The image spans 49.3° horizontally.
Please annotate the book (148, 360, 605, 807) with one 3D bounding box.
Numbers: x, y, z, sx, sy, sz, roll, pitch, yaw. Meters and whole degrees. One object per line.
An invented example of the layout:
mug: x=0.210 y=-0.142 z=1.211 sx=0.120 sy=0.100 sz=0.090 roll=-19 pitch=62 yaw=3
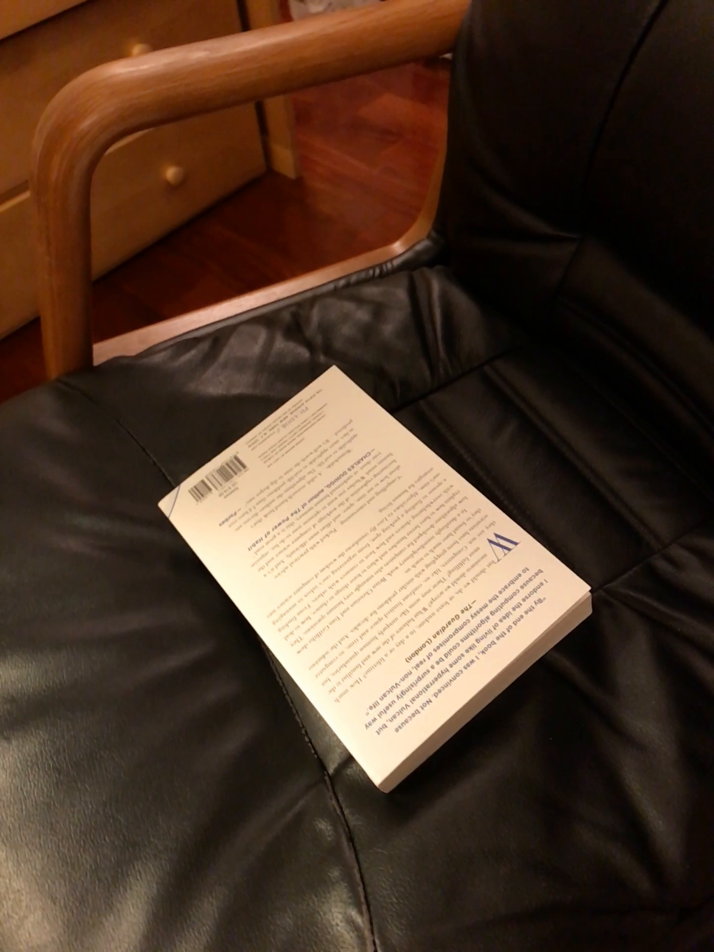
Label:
book: x=0.000 y=0.045 z=0.482 sx=0.160 sy=0.020 sz=0.251 roll=-37 pitch=58 yaw=-14
